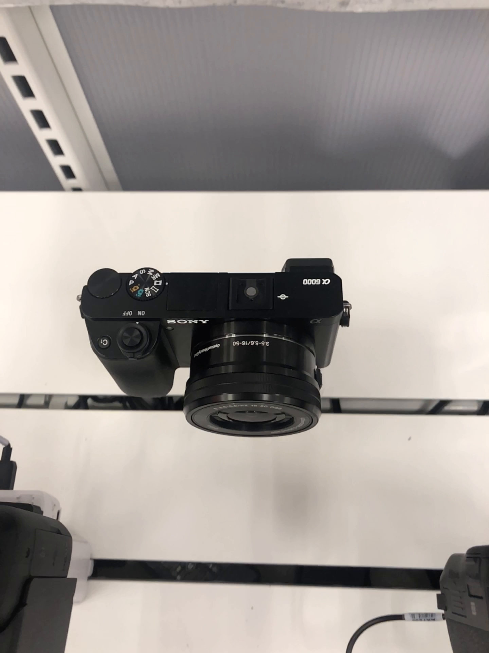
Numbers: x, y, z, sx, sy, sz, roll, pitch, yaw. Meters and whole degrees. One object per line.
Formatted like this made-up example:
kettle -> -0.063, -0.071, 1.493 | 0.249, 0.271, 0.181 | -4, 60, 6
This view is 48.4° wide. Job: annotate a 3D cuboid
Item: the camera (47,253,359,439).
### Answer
camera -> -0.015, 0.012, 0.249 | 0.120, 0.058, 0.067 | -1, 67, 2
